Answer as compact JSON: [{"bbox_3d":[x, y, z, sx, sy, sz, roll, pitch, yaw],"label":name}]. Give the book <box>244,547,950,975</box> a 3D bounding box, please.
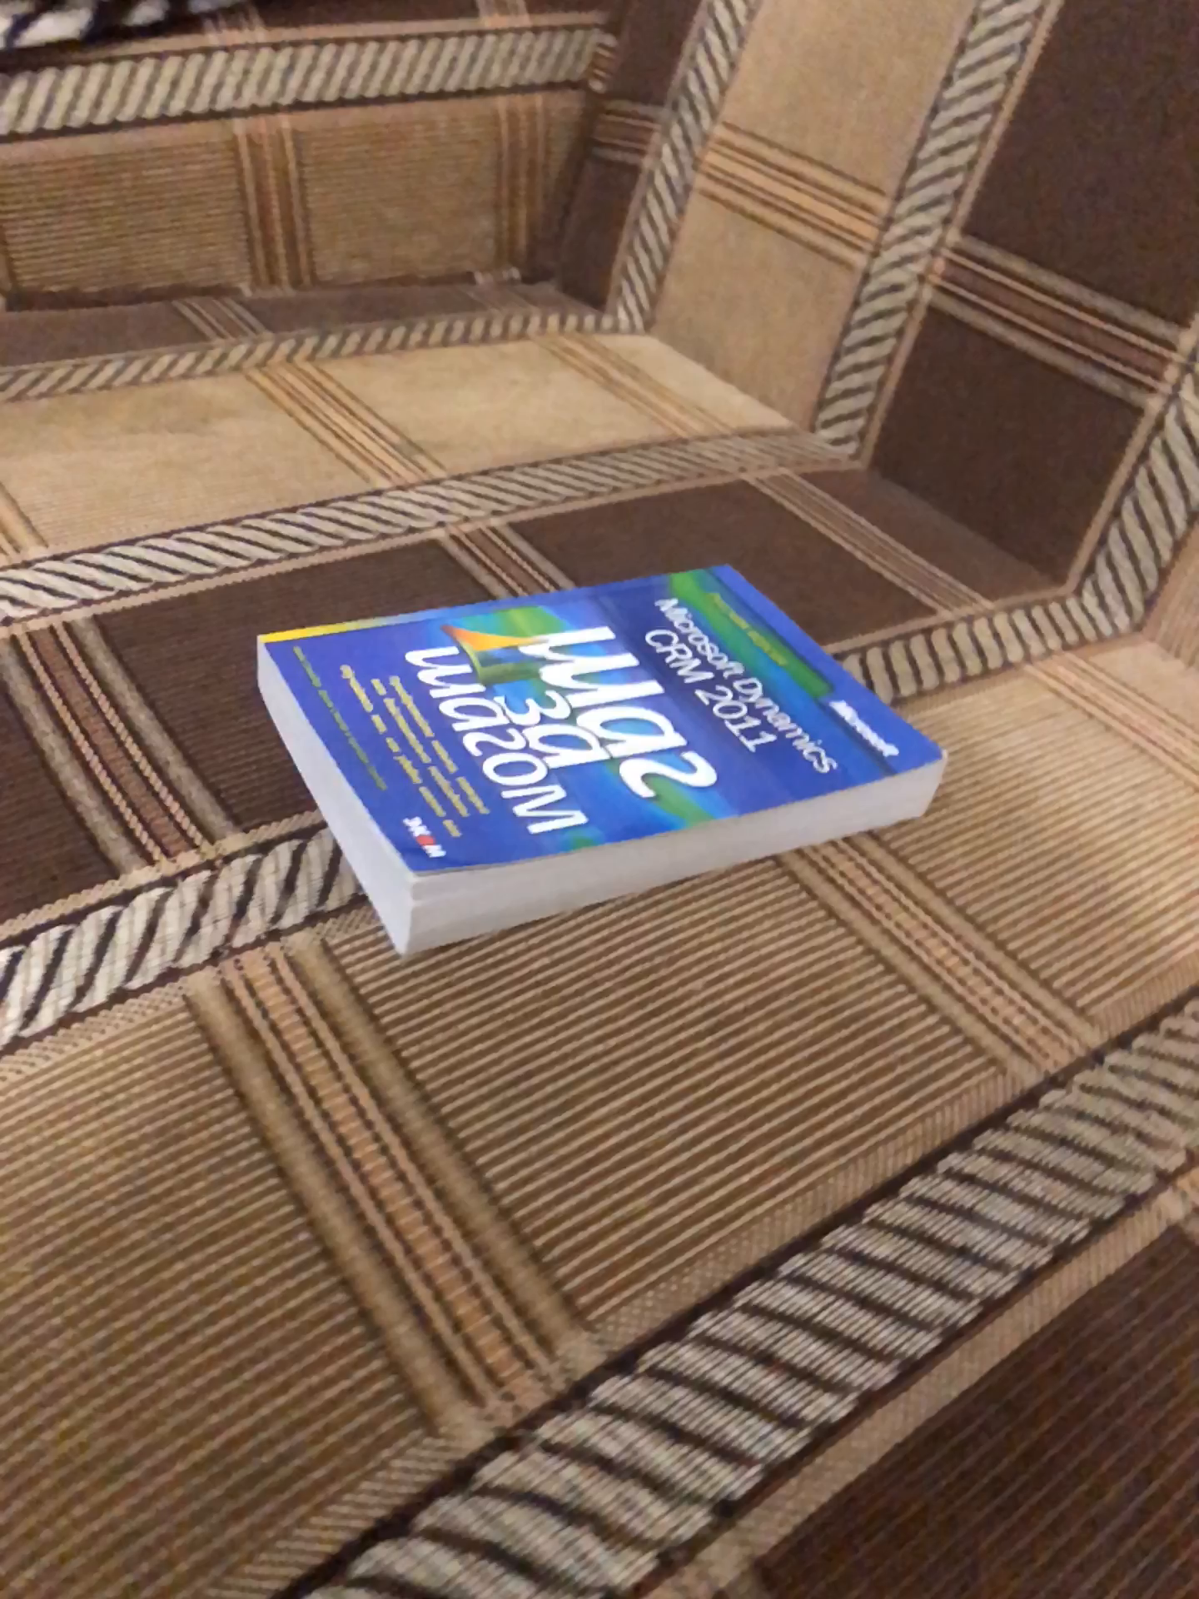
[{"bbox_3d":[-0.005,-0.027,0.467,0.200,0.033,0.151,-13,43,-26],"label":"book"}]
